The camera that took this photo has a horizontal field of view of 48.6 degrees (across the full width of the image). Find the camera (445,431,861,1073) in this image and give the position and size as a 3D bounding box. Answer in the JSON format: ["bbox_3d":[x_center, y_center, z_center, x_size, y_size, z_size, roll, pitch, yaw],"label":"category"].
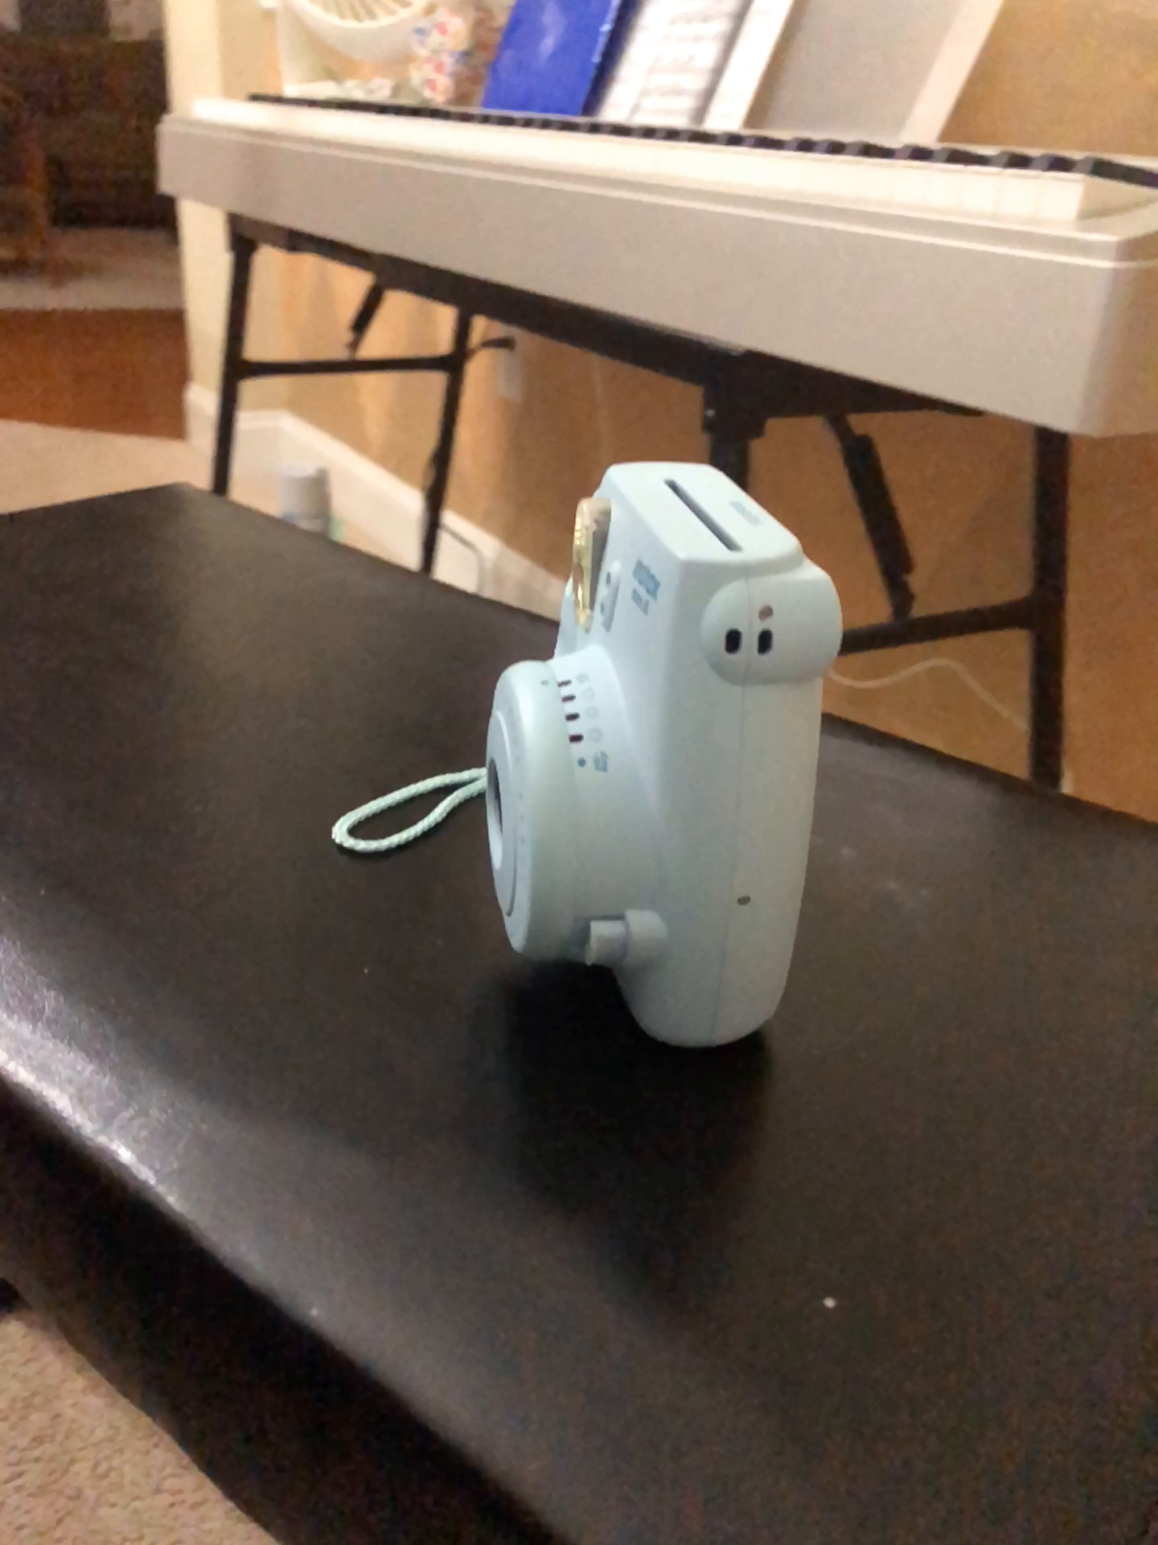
[{"bbox_3d":[0.007,-0.013,0.326,0.068,0.118,0.121,-2,28,-12],"label":"camera"}]
